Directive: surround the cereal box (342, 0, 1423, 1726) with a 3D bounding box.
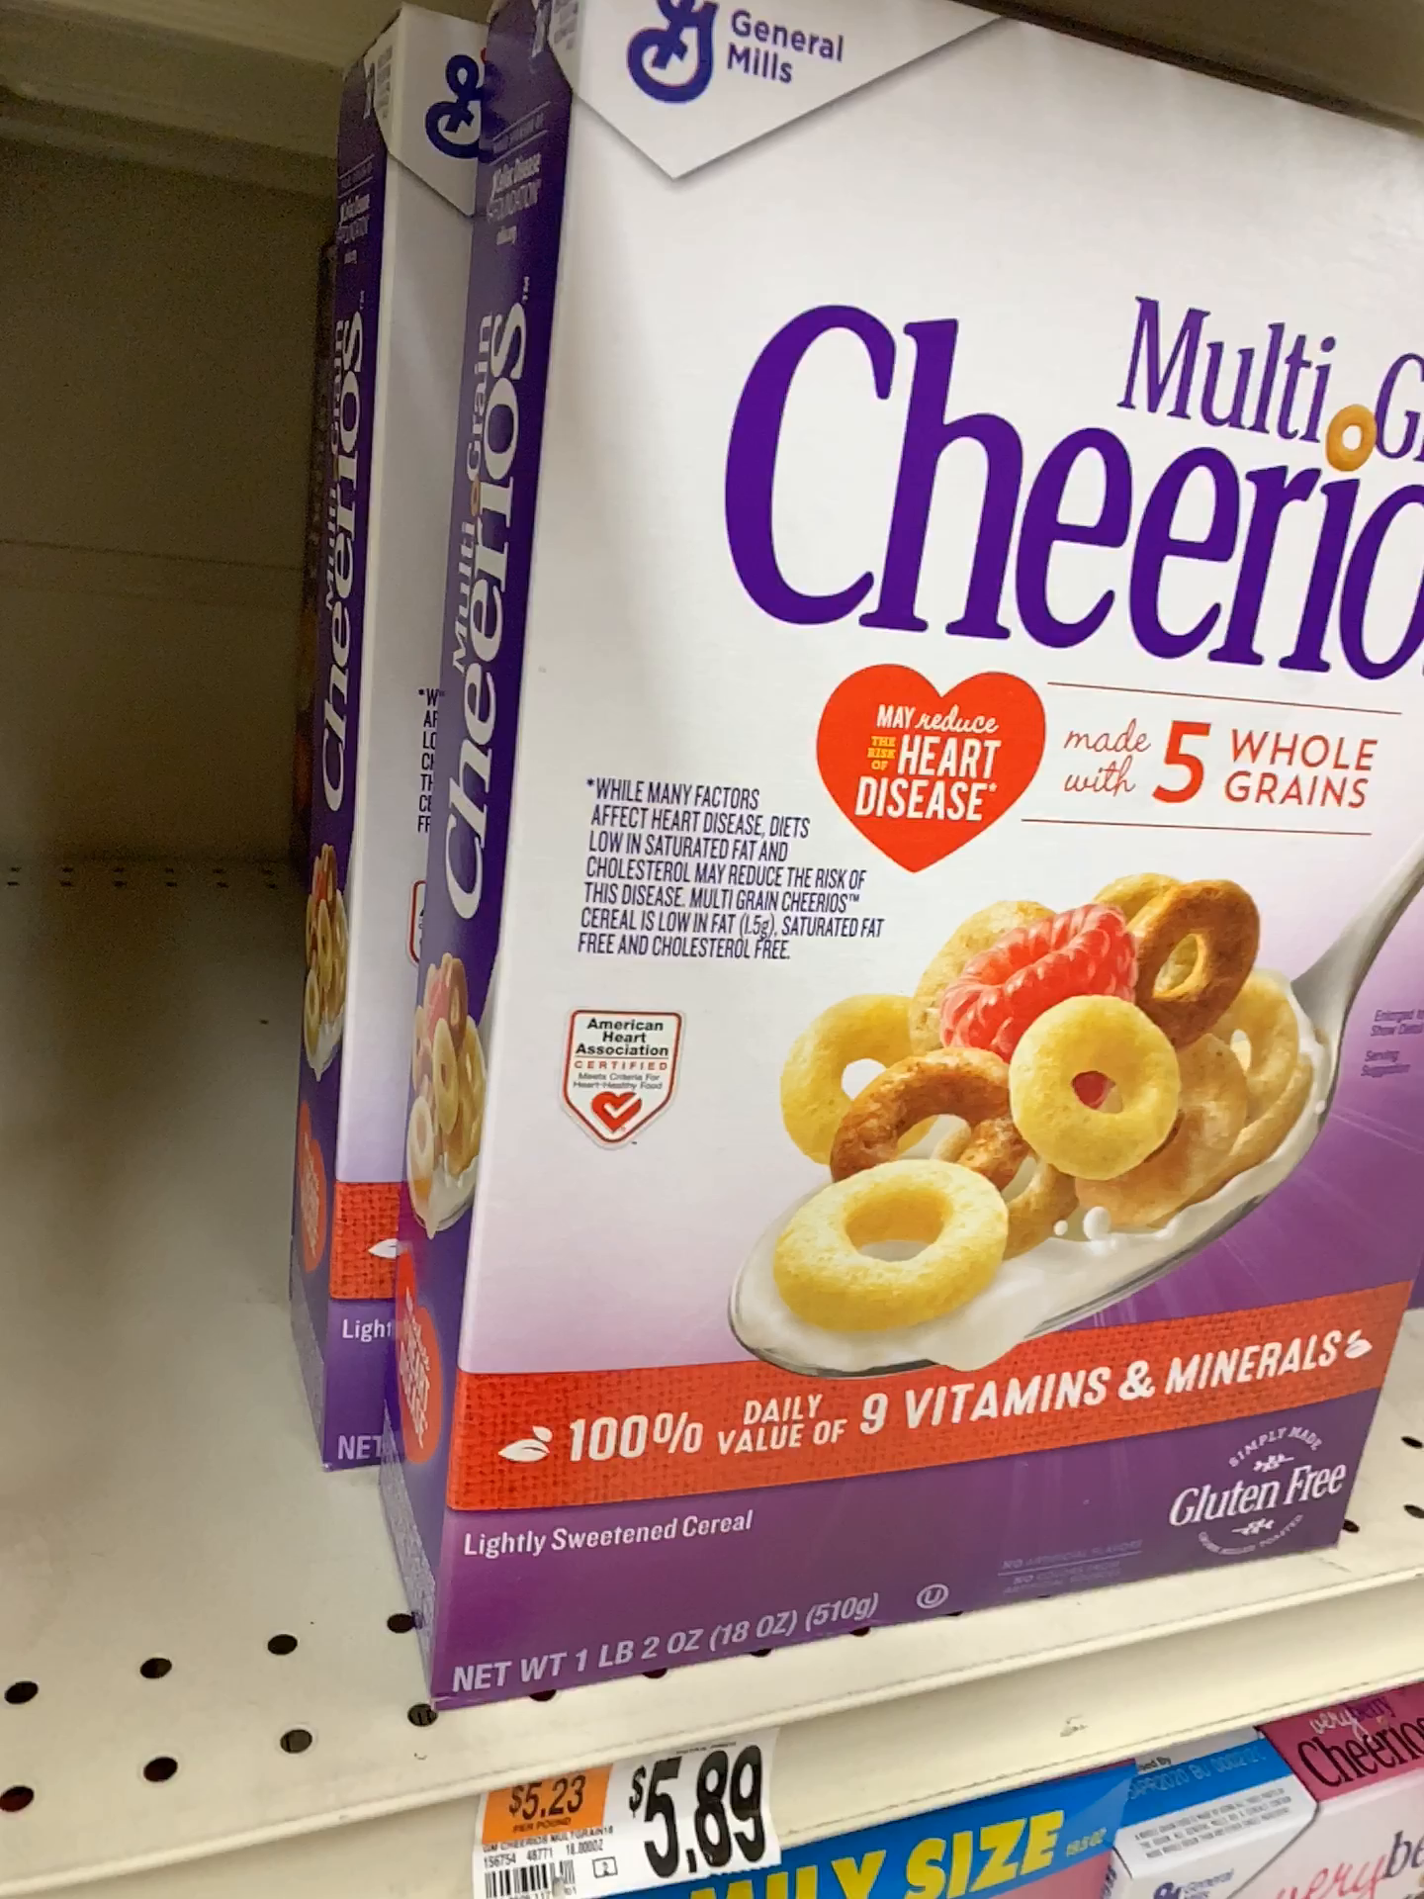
[{"bbox_3d":[0.060,-0.009,0.322,0.250,0.319,0.070,0,18,-22],"label":"cereal box"}]
